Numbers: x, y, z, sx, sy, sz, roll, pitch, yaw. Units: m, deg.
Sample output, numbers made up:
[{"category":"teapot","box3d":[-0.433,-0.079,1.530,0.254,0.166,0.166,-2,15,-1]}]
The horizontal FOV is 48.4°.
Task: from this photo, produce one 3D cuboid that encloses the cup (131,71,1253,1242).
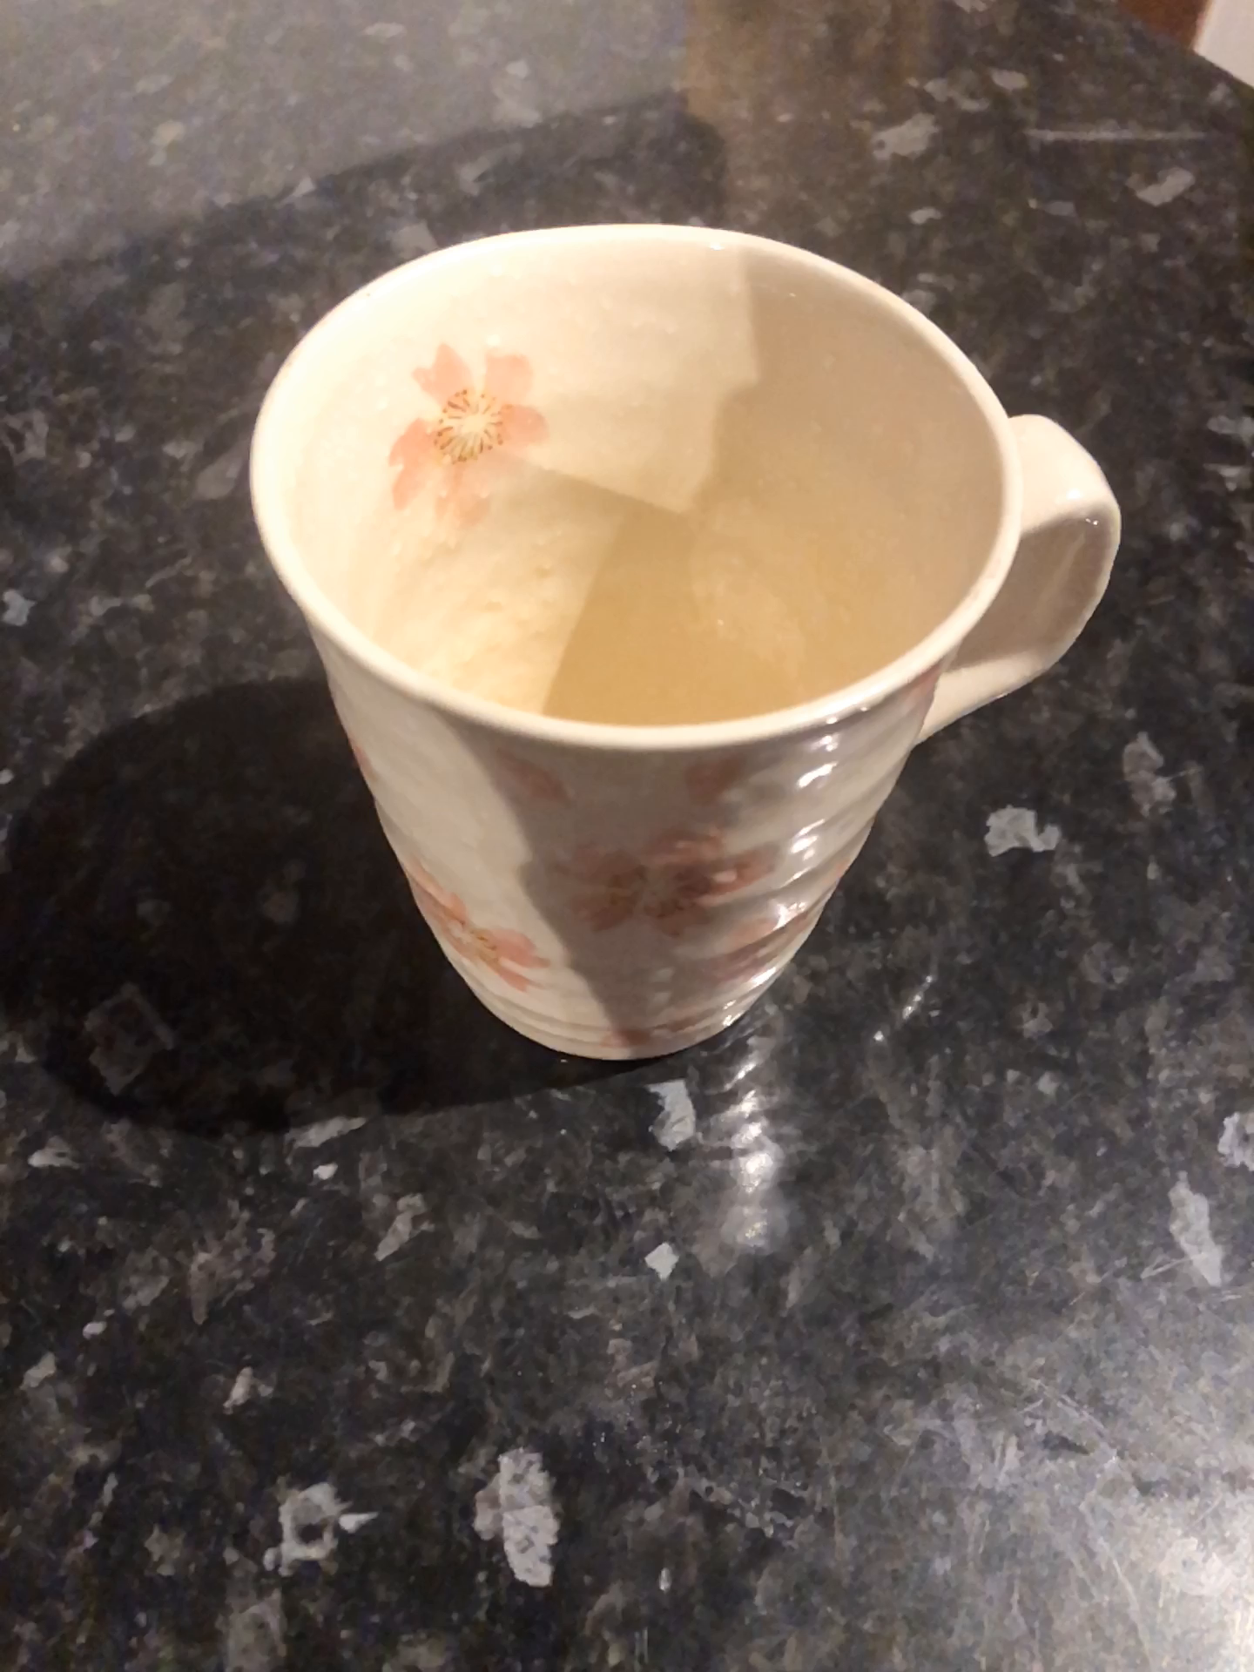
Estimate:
[{"category":"cup","box3d":[0.018,-0.025,0.200,0.130,0.100,0.090,-20,59,-15]}]
